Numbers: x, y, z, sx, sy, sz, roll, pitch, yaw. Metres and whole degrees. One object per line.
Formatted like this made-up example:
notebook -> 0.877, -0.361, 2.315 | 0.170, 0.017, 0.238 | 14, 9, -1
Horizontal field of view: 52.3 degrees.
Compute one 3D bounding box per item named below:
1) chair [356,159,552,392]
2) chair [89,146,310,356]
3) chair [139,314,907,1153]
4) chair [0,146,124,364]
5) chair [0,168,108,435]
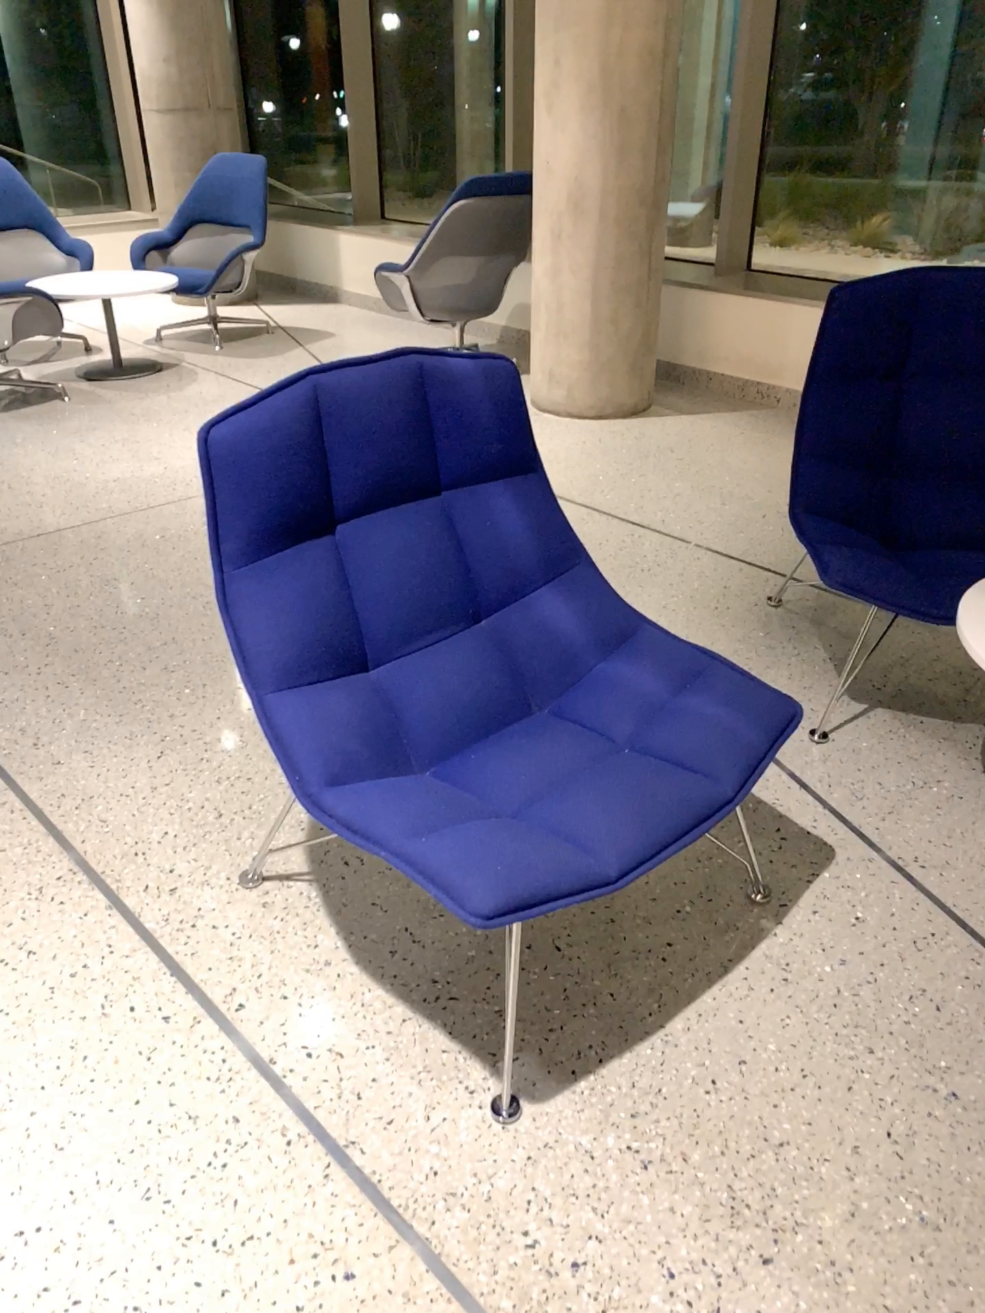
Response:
chair -> -0.204, -1.982, 5.159 | 0.642, 0.962, 0.774 | -20, 36, -31
chair -> -1.636, -2.338, 5.728 | 0.782, 0.972, 0.764 | 17, 34, 28
chair -> 0.043, 0.020, 1.695 | 0.811, 0.932, 0.784 | -25, 38, -37
chair -> -2.536, -2.150, 5.314 | 0.773, 0.942, 0.673 | 25, 38, 37
chair -> -2.346, -1.607, 4.446 | 0.803, 0.932, 0.773 | 25, 38, 37
